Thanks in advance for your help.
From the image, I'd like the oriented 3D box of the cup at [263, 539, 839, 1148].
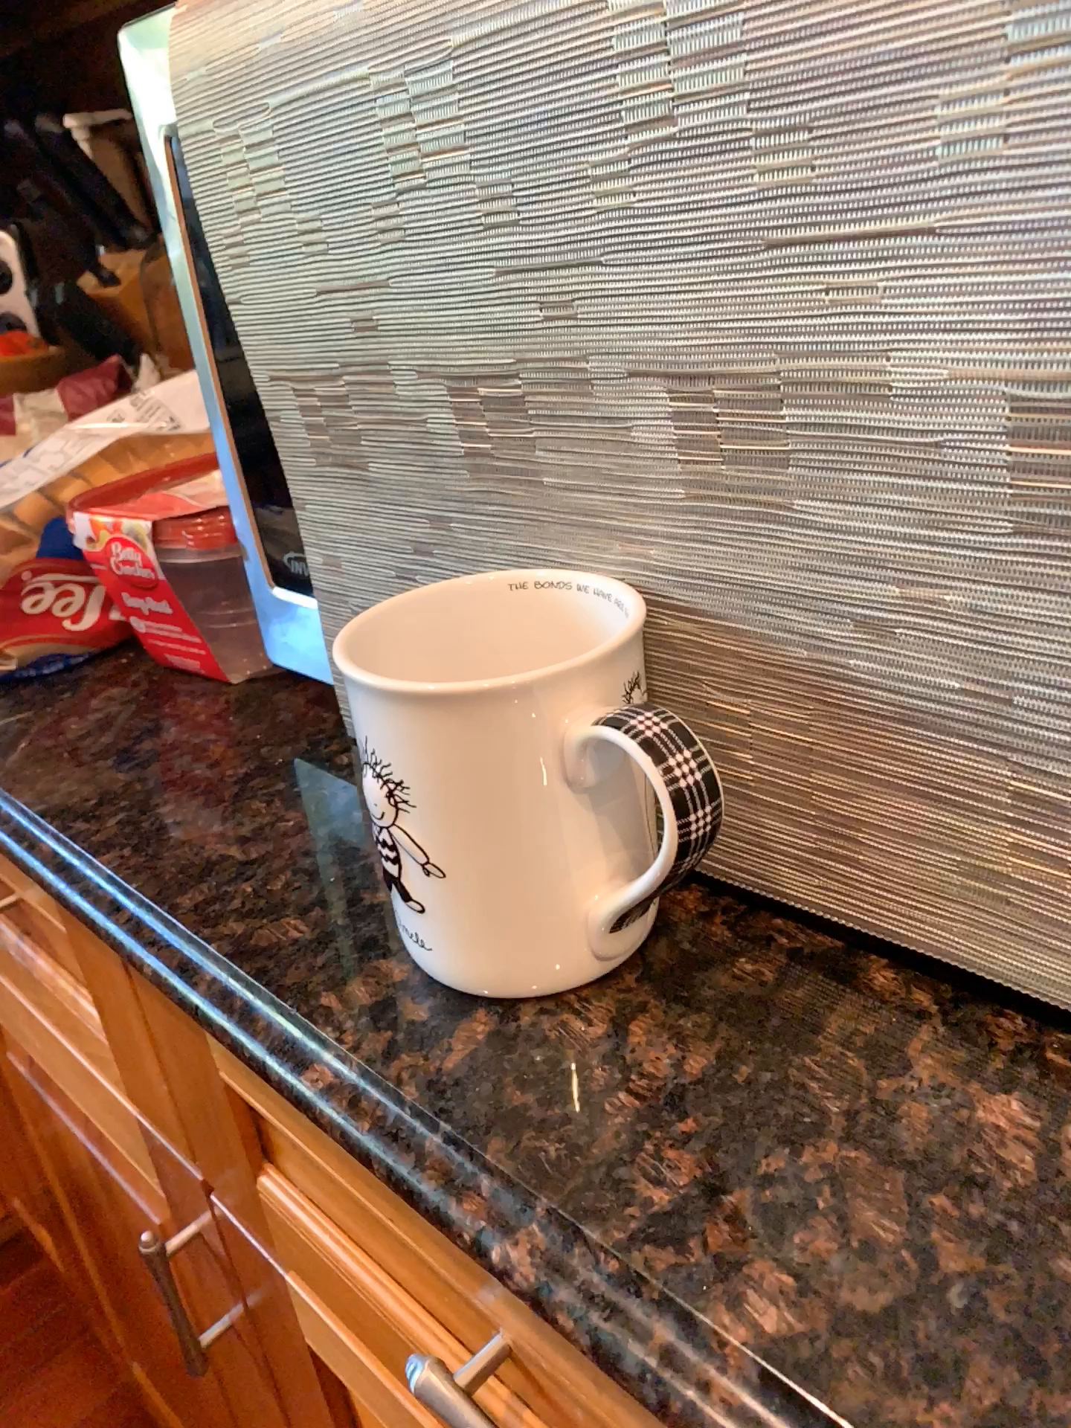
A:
[{"bbox_3d":[0.005,0.024,0.330,0.100,0.109,0.131,-25,30,-32],"label":"cup"}]
